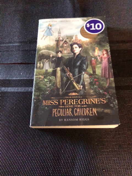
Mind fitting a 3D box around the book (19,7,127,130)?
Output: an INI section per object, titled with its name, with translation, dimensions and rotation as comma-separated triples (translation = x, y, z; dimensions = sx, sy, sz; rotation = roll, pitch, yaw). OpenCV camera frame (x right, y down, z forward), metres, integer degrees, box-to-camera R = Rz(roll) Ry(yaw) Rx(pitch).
[book]
translation = 0.009, -0.043, 0.281
dimensions = 0.160, 0.050, 0.231
rotation = -2, 70, 3
